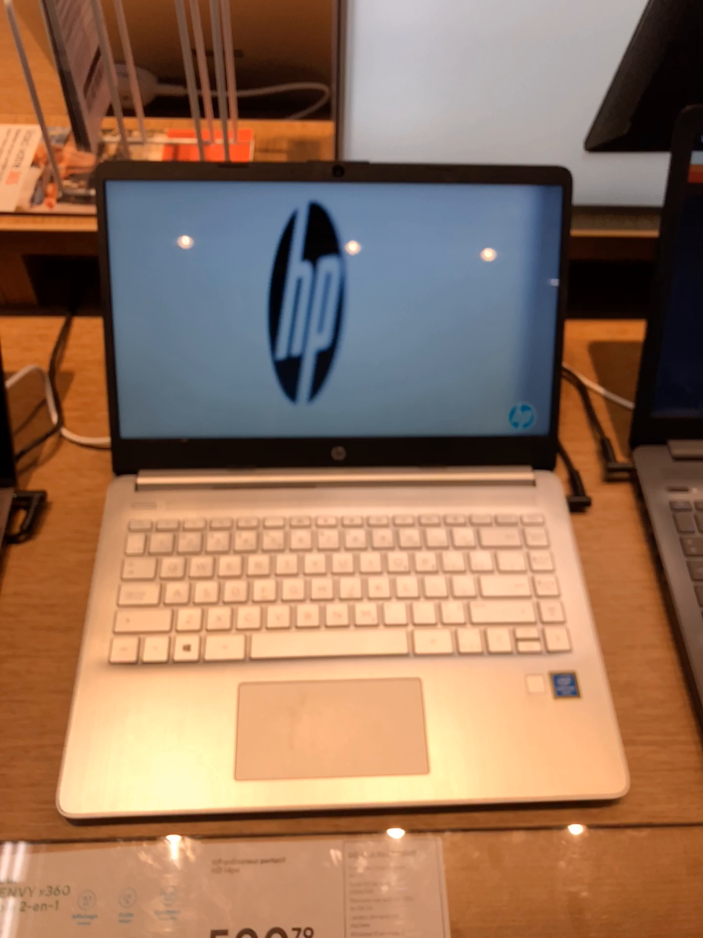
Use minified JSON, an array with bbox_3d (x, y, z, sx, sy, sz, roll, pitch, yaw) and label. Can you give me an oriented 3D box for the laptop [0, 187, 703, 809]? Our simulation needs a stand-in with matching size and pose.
[{"bbox_3d":[-0.002,0.004,0.482,0.307,0.167,0.347,-1,53,0],"label":"laptop"}]
